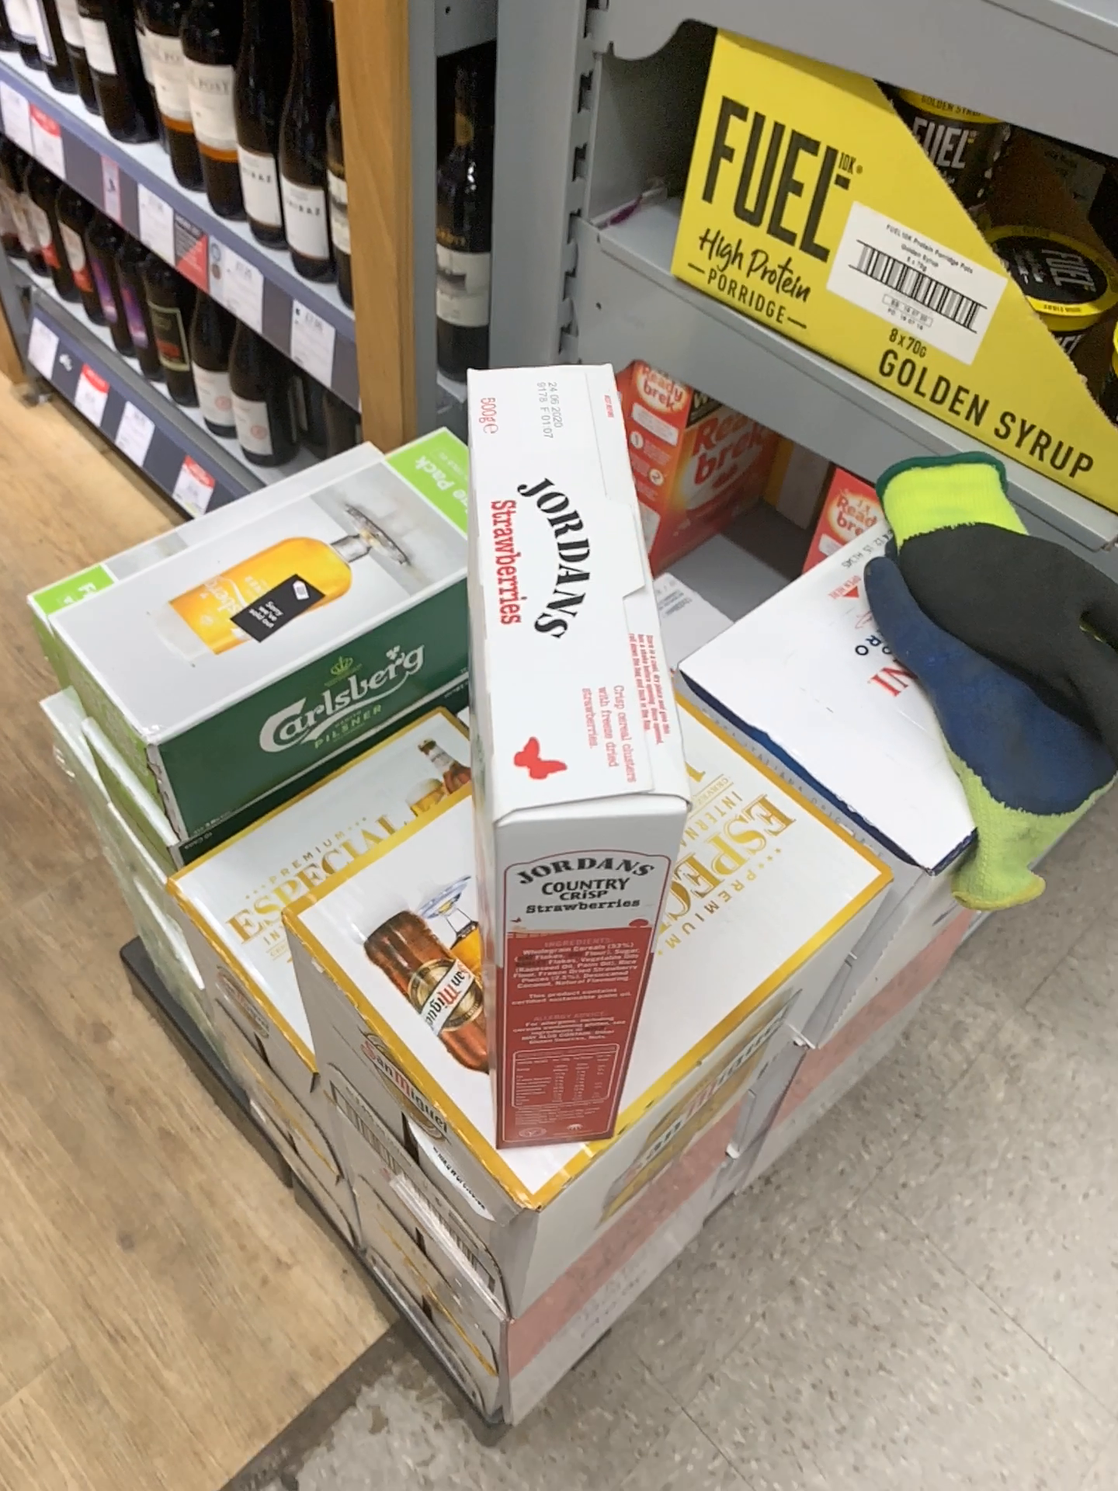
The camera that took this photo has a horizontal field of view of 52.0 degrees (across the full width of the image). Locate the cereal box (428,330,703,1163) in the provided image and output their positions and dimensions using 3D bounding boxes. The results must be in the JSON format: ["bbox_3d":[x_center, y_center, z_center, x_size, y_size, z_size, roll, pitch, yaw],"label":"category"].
[{"bbox_3d":[-0.009,0.015,0.417,0.060,0.248,0.192,-3,54,-4],"label":"cereal box"}]
